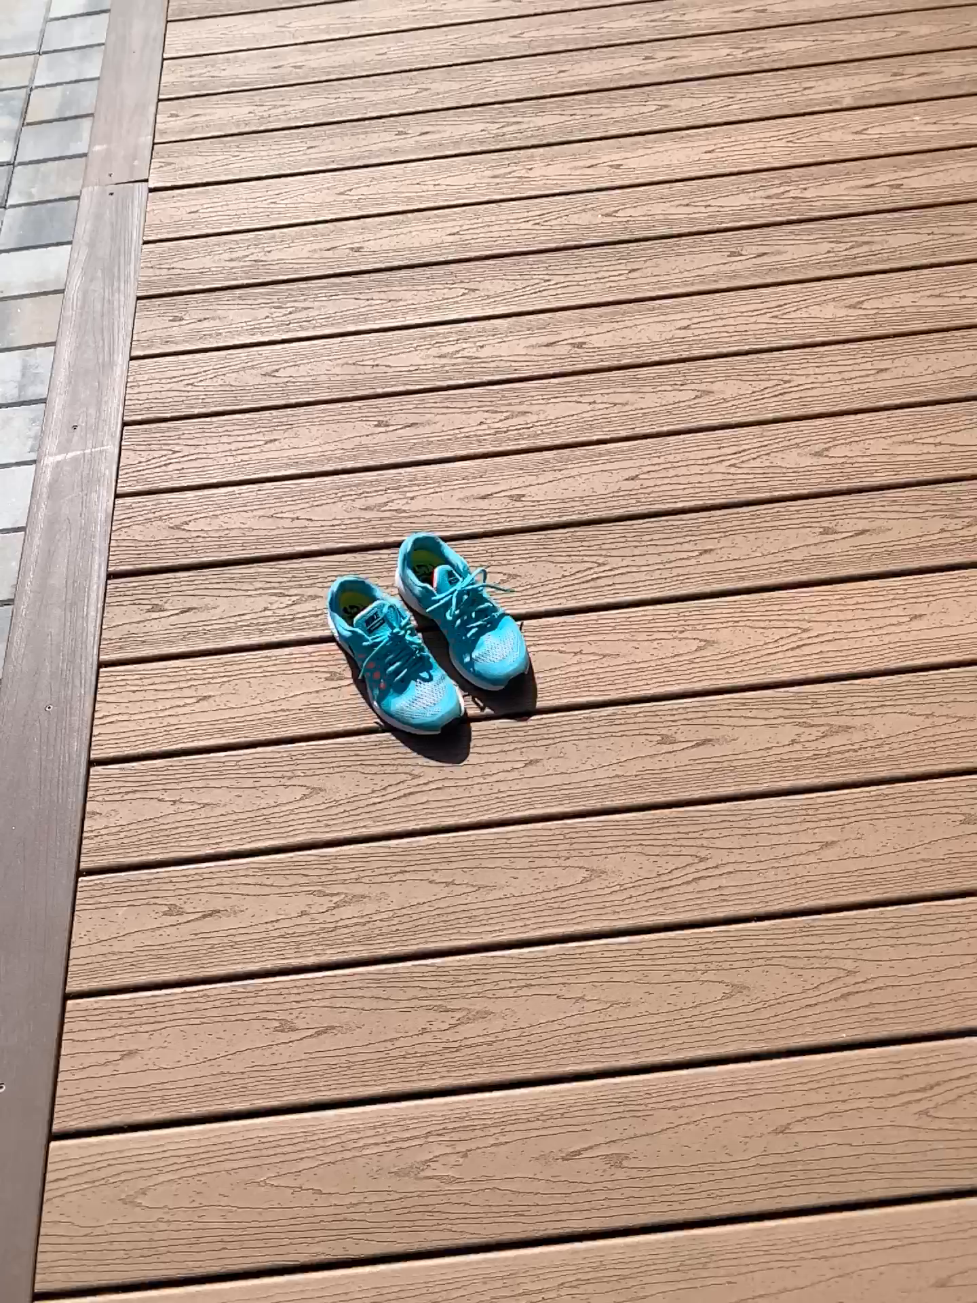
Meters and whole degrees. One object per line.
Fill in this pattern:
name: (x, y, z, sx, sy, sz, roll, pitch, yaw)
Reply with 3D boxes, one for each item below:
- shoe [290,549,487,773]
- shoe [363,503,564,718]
shoe: (-0.125, 0.007, 1.235, 0.110, 0.080, 0.261, -34, 64, -14)
shoe: (-0.032, -0.055, 1.256, 0.110, 0.080, 0.261, -36, 64, -16)
